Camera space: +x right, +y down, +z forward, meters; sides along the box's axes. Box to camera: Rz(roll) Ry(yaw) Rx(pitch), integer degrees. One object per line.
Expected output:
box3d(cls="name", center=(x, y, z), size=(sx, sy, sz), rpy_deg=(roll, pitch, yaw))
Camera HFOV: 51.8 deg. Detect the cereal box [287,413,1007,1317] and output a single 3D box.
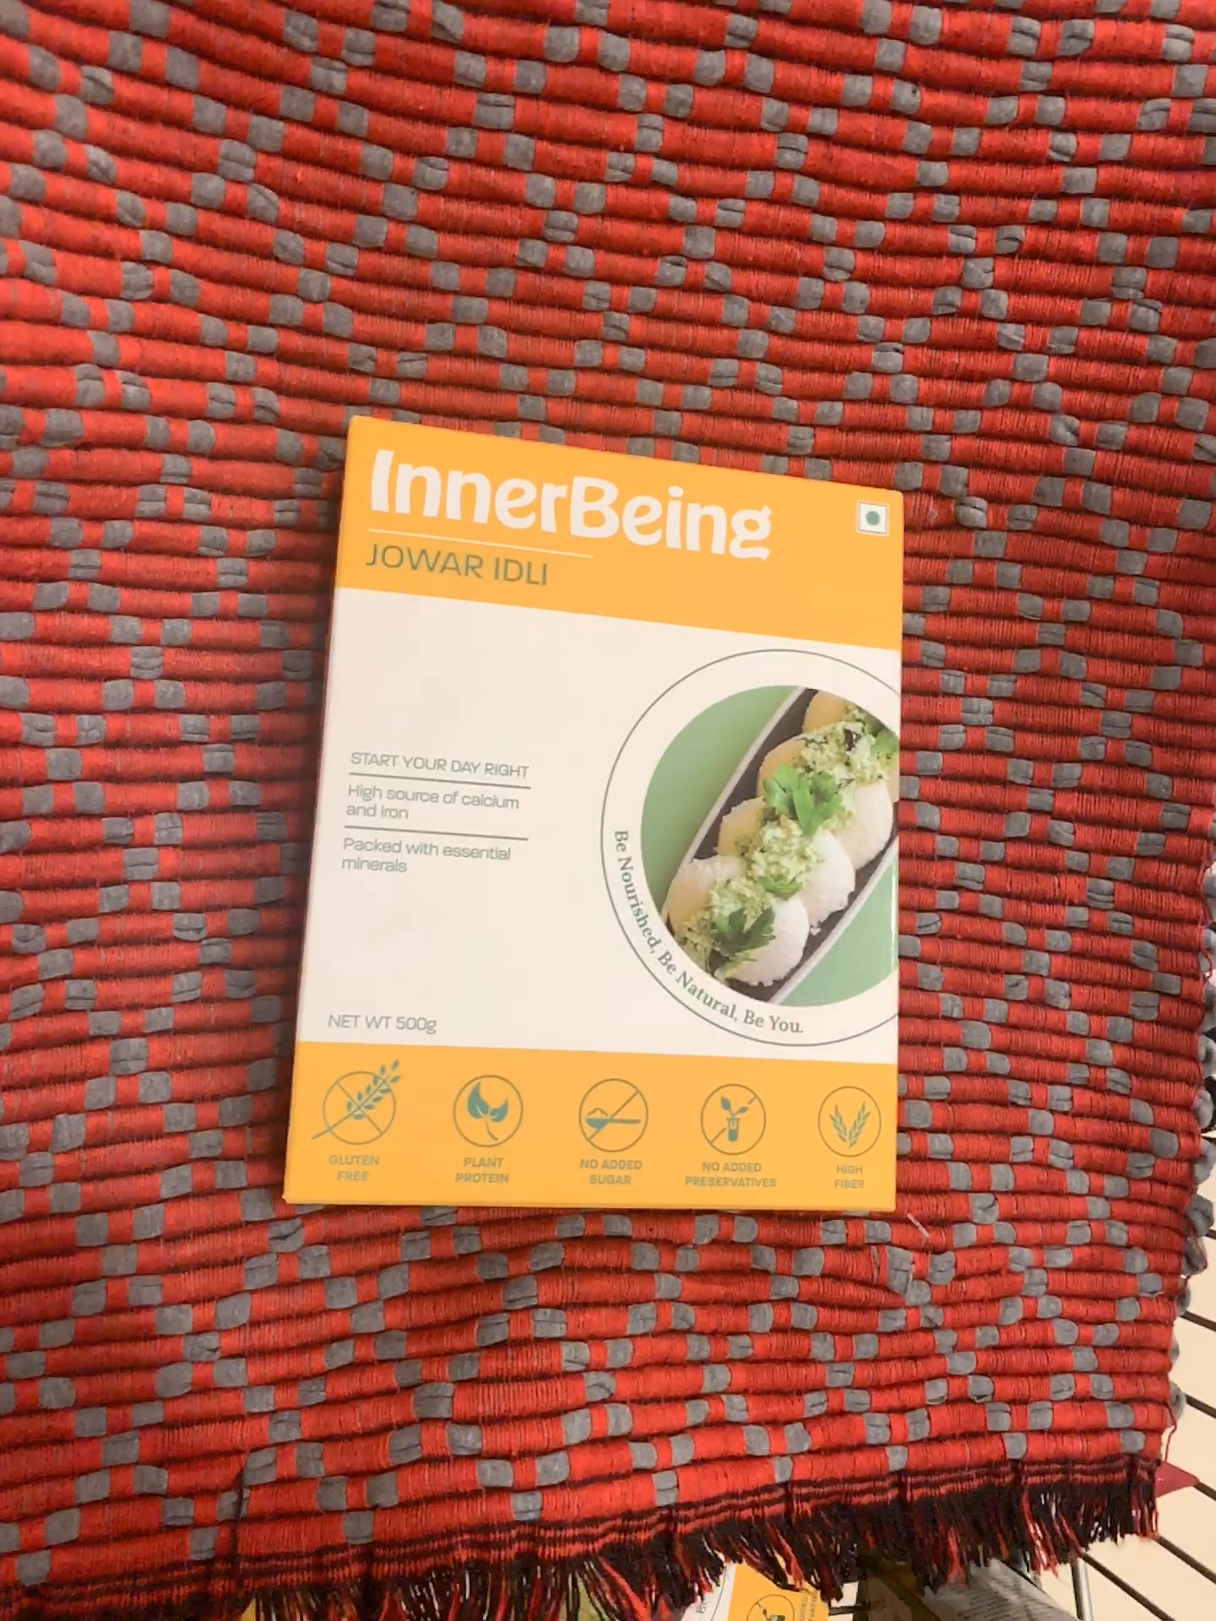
box3d(cls="cereal box", center=(0.002, 0.014, 0.309), size=(0.150, 0.070, 0.190), rpy_deg=(2, 75, -15))
